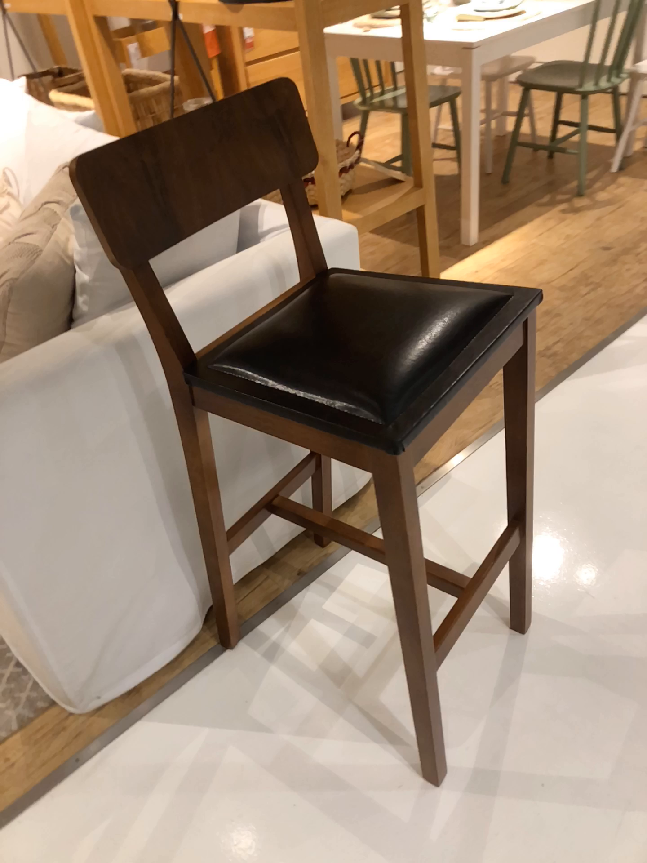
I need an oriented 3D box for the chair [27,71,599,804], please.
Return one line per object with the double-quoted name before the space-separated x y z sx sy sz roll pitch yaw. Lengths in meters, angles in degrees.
"chair" 0.040 0.026 1.151 0.531 1.002 0.442 19 45 31
